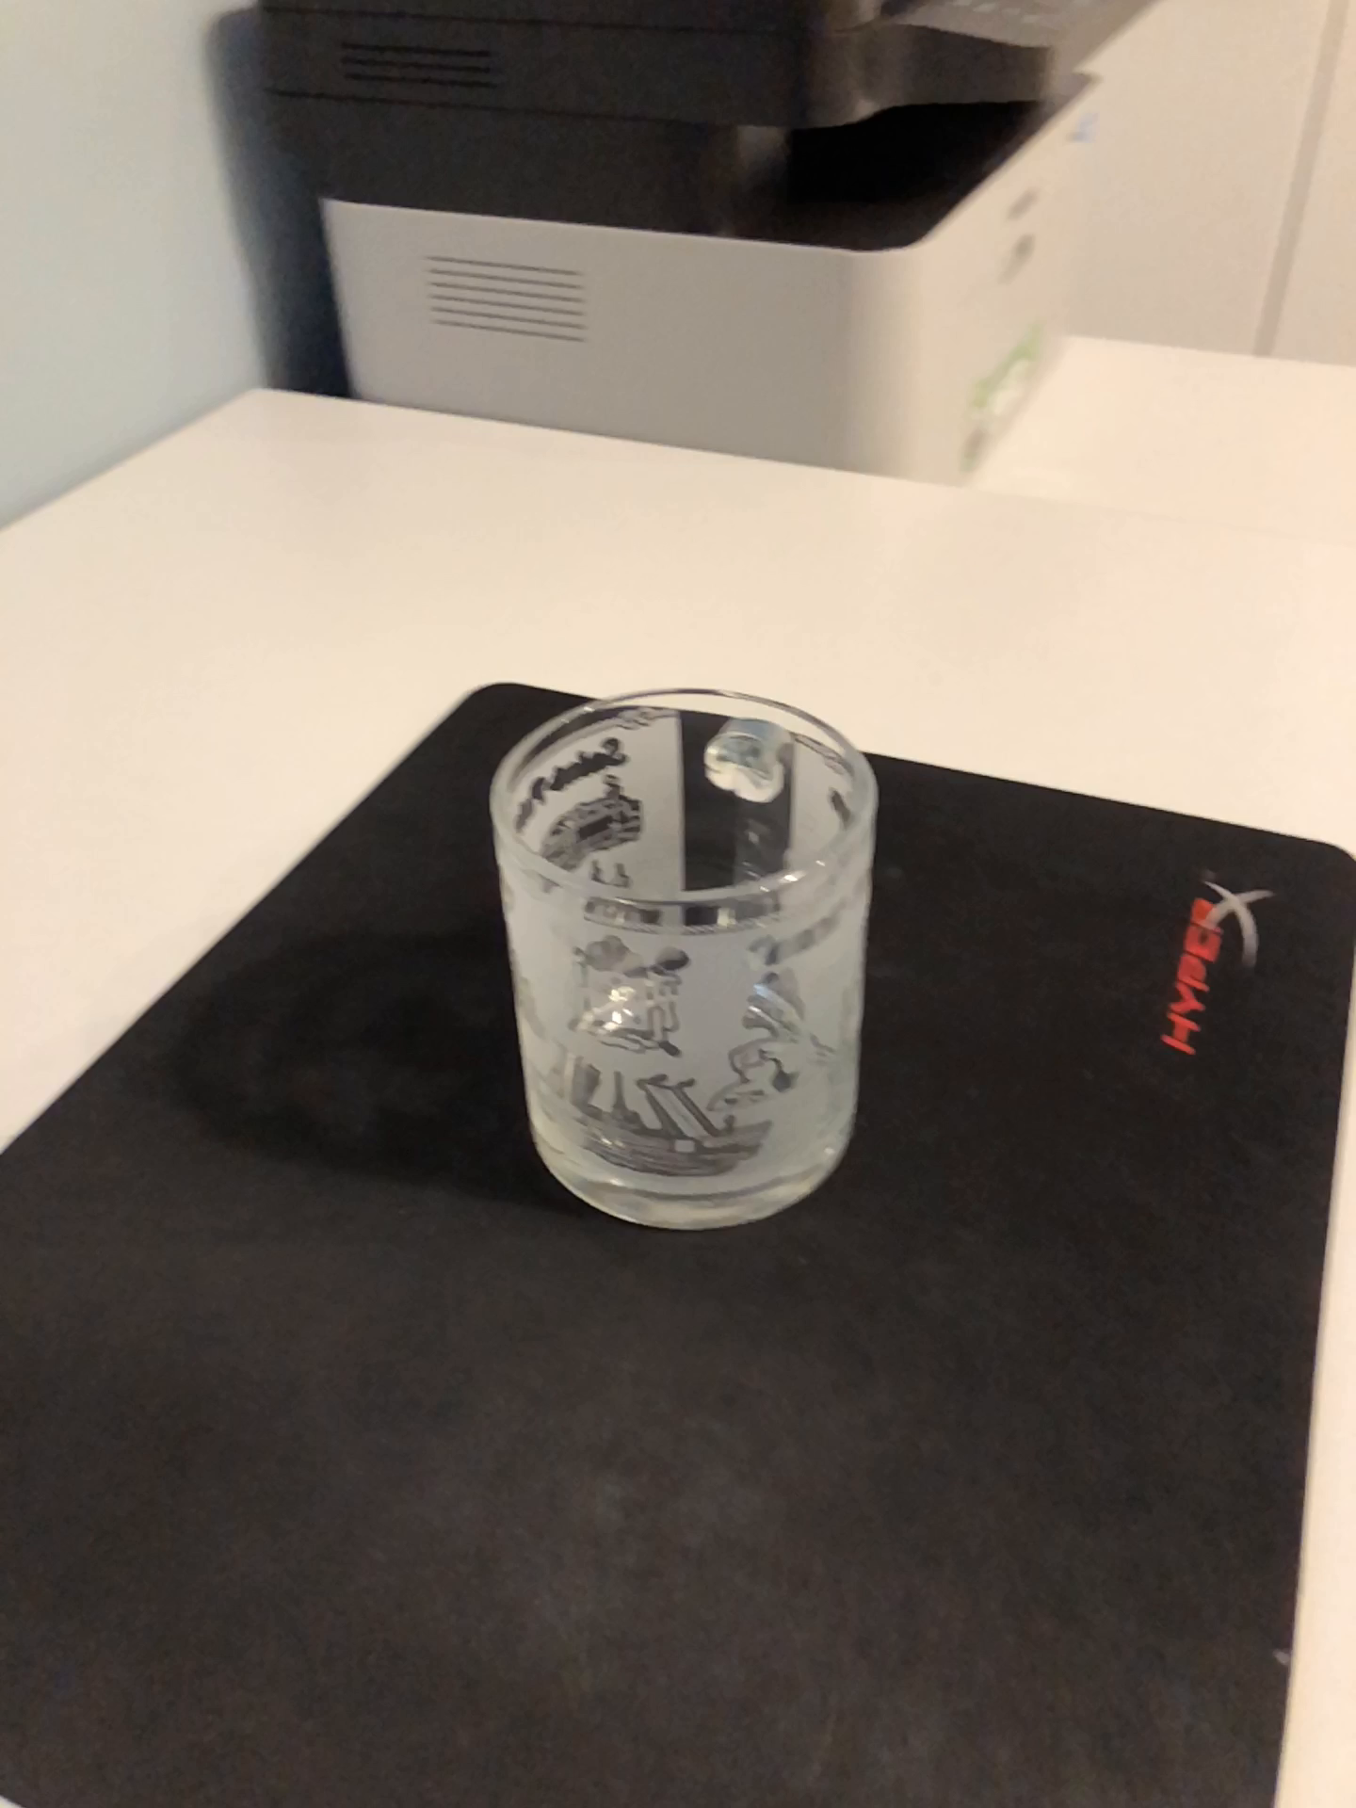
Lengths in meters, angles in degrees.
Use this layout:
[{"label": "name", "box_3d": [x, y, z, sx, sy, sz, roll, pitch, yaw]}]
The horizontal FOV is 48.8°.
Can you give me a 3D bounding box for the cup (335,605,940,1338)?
[{"label": "cup", "box_3d": [-0.002, 0.010, 0.356, 0.090, 0.106, 0.117, 15, 41, 19]}]
